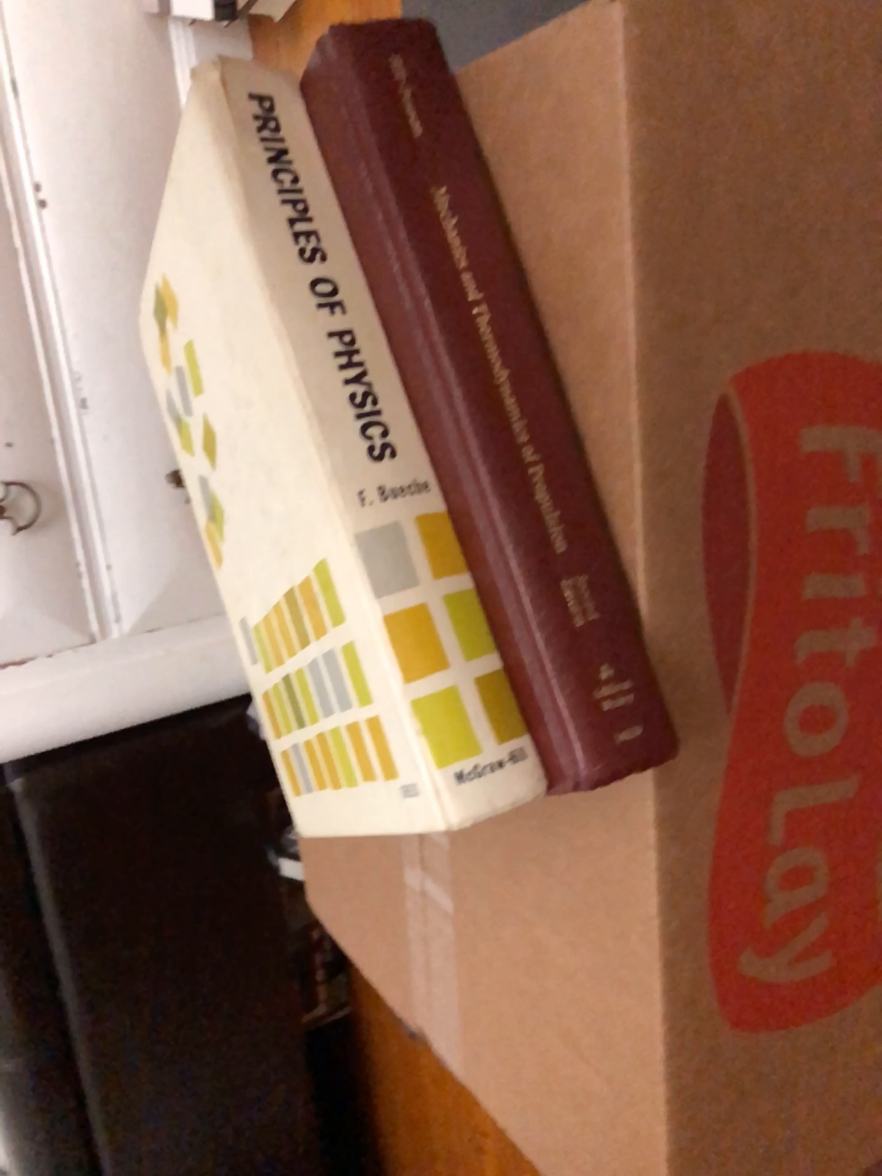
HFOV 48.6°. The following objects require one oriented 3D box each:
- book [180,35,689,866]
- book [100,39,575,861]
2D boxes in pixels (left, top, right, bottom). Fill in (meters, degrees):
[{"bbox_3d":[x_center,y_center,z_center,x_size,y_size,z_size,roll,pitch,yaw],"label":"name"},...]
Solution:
[{"bbox_3d":[-0.023,-0.029,0.364,0.181,0.040,0.250,-25,83,62],"label":"book"},{"bbox_3d":[-0.059,-0.027,0.362,0.181,0.040,0.250,-31,78,61],"label":"book"}]
